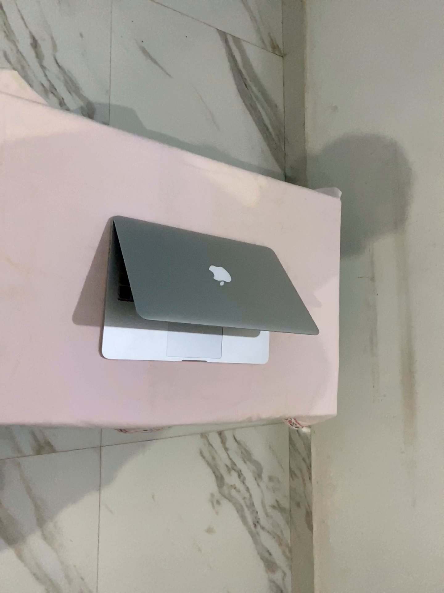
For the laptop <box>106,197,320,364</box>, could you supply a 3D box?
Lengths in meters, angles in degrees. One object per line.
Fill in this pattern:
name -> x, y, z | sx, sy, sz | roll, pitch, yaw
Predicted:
laptop -> -0.006, -0.004, 0.706 | 0.297, 0.138, 0.208 | 7, 82, -33
